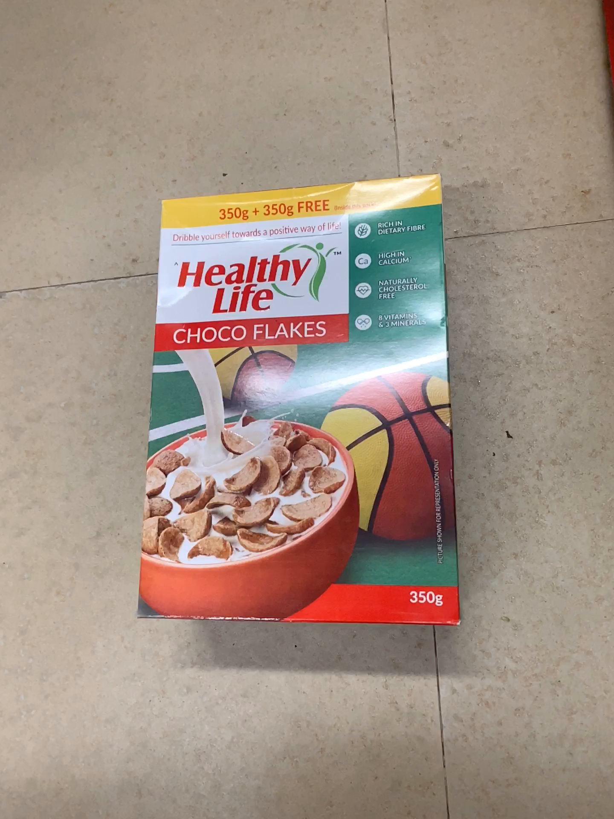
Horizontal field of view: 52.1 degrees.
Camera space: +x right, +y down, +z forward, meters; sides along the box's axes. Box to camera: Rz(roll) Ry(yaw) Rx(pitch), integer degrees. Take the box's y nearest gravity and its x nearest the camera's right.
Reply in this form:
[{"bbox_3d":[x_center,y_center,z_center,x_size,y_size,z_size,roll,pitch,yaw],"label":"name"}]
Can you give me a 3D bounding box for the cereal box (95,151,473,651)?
[{"bbox_3d":[-0.007,-0.001,0.411,0.200,0.110,0.280,-2,76,10],"label":"cereal box"}]
